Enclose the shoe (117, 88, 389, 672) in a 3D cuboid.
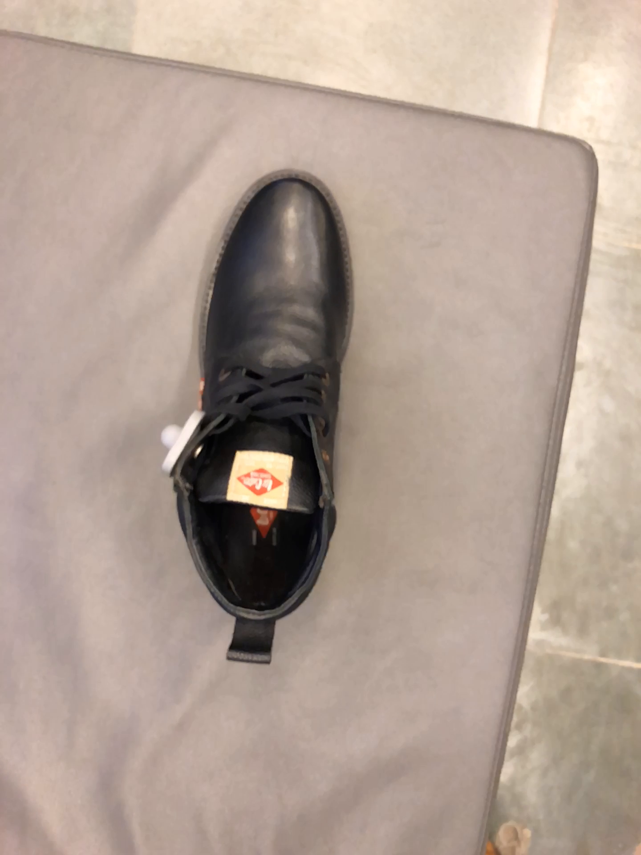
[{"bbox_3d":[-0.033,-0.023,0.431,0.111,0.149,0.284,5,87,-1],"label":"shoe"}]
